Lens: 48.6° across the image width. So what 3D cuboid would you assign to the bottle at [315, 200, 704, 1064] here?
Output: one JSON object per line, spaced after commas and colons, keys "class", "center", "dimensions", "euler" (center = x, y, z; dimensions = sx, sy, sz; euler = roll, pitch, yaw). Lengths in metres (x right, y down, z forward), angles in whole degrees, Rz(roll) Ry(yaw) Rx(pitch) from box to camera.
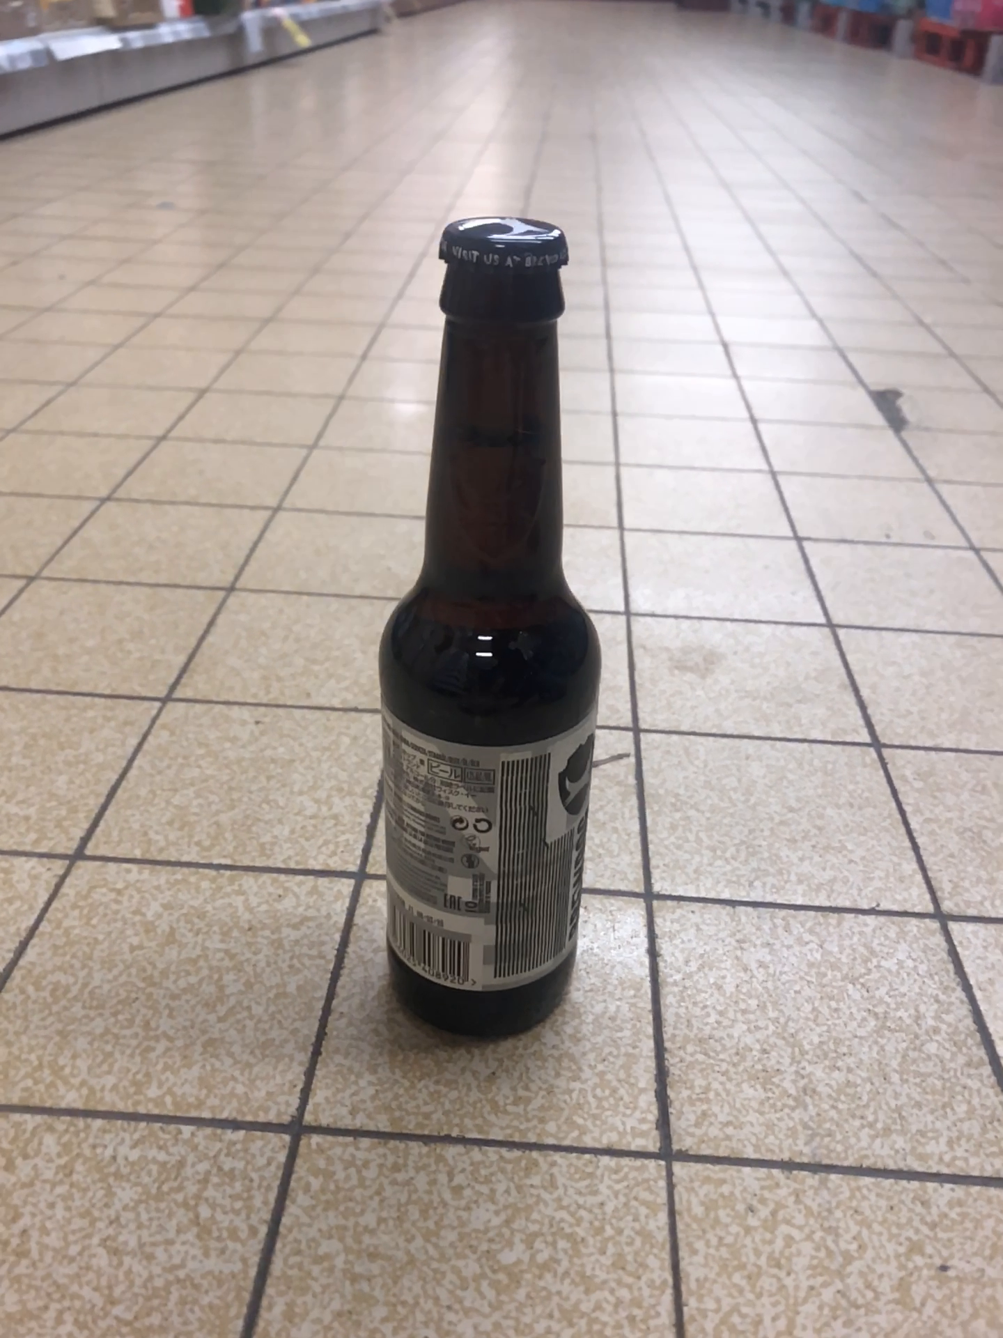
{"class": "bottle", "center": [-0.005, -0.002, 0.302], "dimensions": [0.070, 0.222, 0.070], "euler": [1, 31, -1]}
